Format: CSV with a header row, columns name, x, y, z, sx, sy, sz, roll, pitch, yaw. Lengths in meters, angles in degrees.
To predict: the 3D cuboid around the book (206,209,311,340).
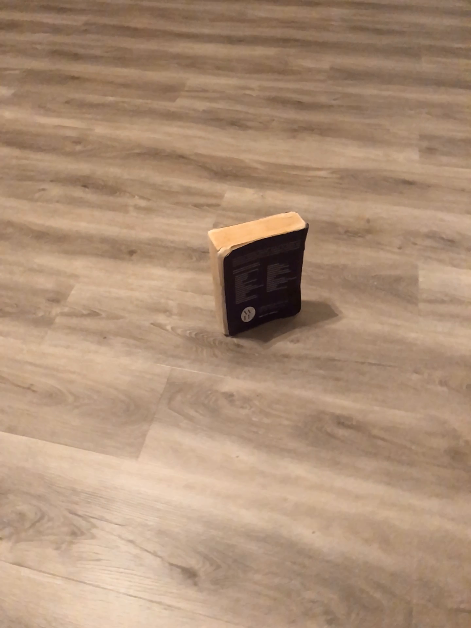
name,x,y,z,sx,sy,sz,roll,pitch,yaw
book,0.039,-0.063,0.909,0.155,0.219,0.060,-15,53,-10
